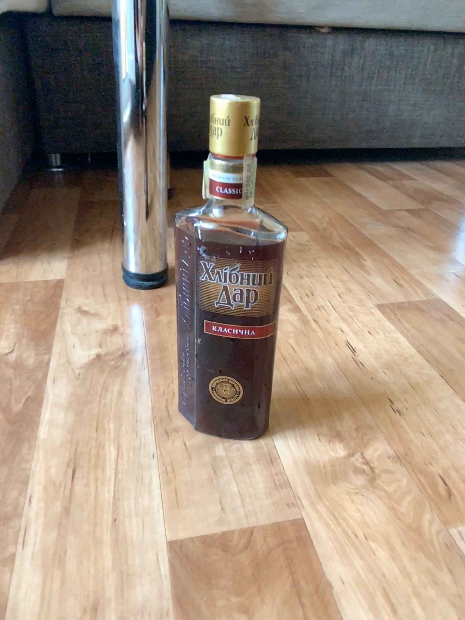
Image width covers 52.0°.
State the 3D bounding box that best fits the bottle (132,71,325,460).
[{"bbox_3d":[-0.005,-0.020,0.313,0.090,0.239,0.050,15,32,21],"label":"bottle"}]
